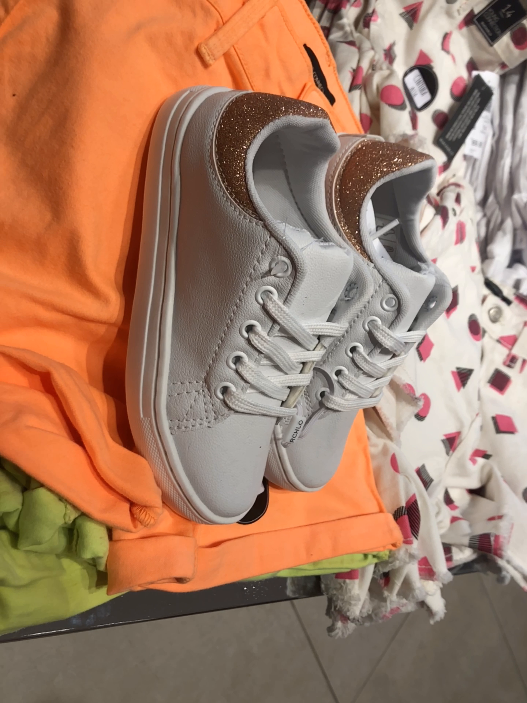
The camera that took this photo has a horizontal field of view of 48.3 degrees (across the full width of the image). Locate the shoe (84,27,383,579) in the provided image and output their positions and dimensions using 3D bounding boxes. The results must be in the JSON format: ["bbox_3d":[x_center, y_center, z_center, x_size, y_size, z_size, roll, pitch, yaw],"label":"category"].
[{"bbox_3d":[-0.013,-0.021,0.272,0.080,0.070,0.210,-1,103,-59],"label":"shoe"}]

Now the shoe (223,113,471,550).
[{"bbox_3d":[0.044,-0.012,0.329,0.081,0.070,0.210,-2,104,-46],"label":"shoe"}]
